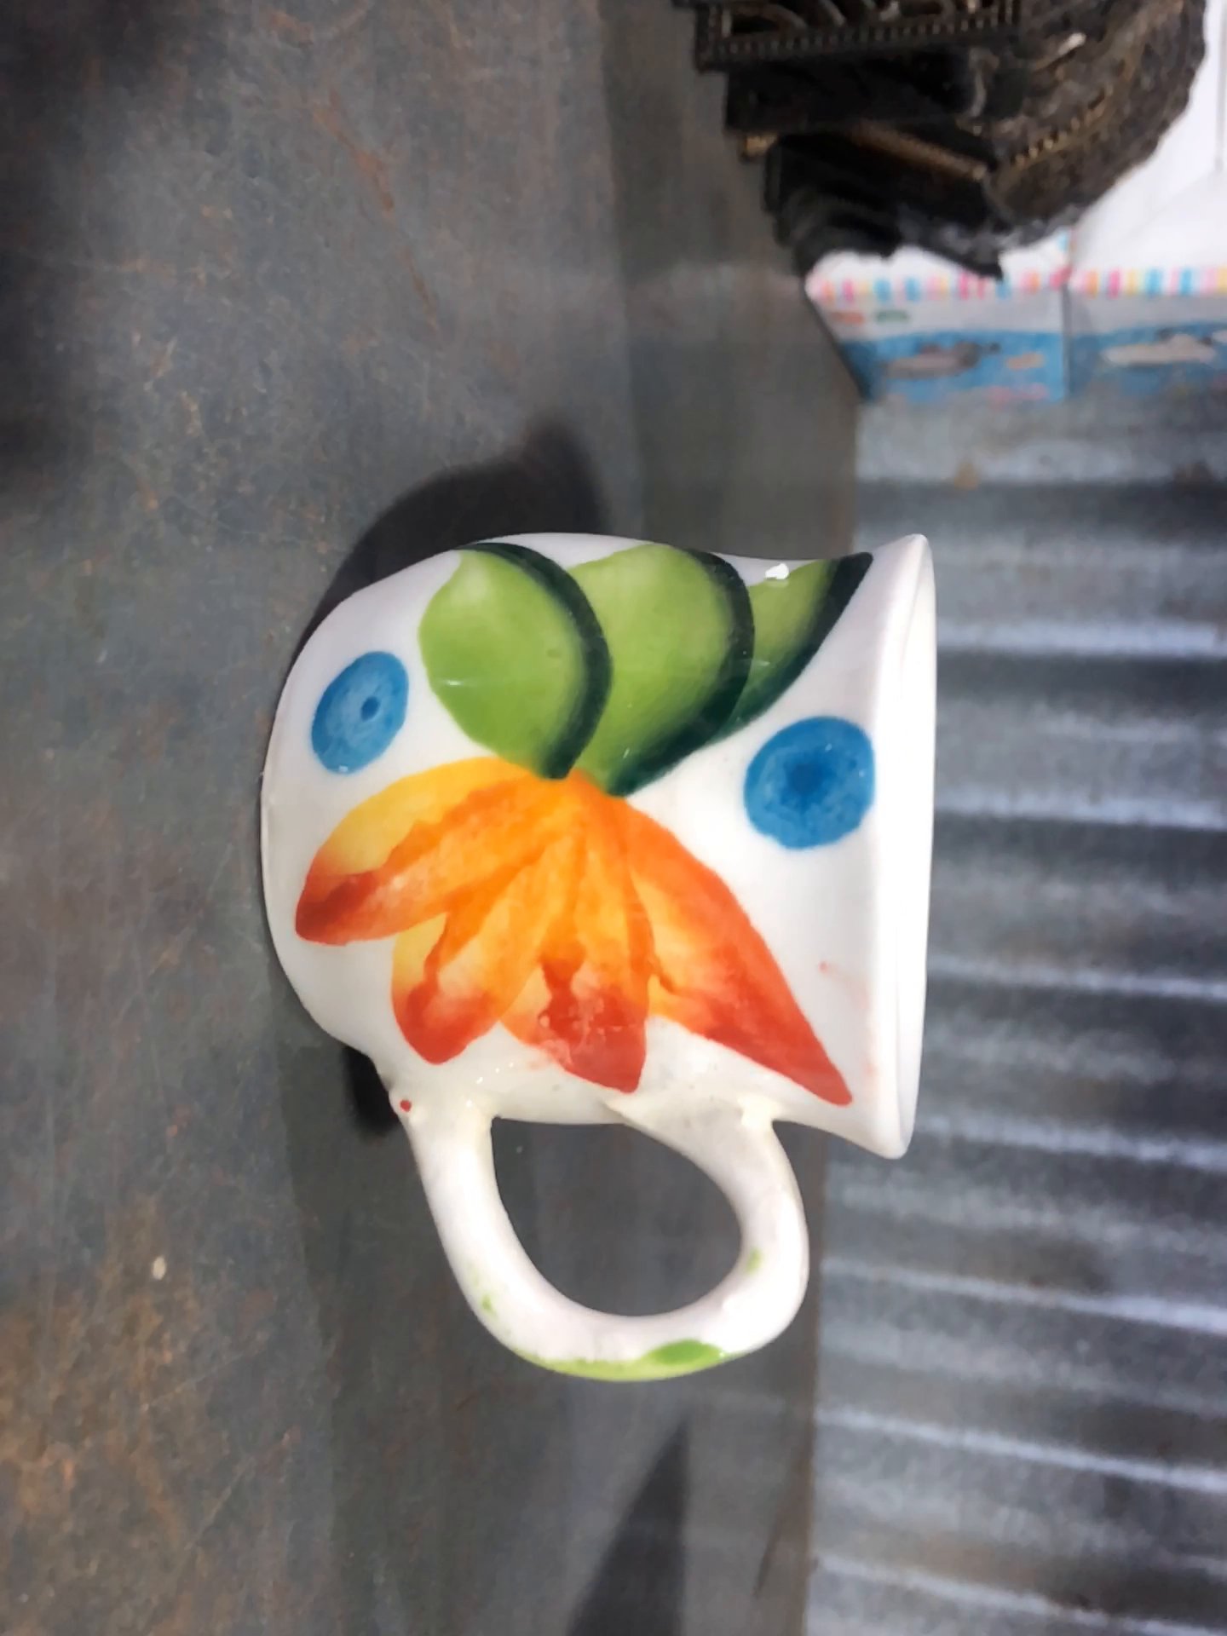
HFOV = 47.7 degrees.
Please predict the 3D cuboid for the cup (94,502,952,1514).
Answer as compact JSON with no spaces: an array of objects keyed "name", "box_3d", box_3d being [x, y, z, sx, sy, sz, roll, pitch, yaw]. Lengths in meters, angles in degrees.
[{"name":"cup","box_3d":[0.001,0.021,0.163,0.070,0.070,0.090,55,40,-67]}]
